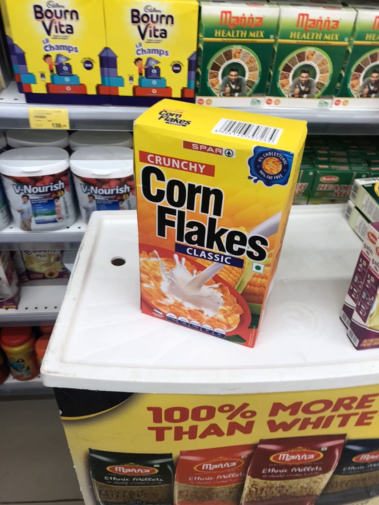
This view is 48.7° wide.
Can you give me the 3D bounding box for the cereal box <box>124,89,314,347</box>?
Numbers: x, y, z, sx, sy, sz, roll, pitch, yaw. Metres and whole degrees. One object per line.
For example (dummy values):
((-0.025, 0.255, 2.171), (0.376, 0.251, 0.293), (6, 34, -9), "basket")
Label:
((0.029, -0.035, 0.581), (0.200, 0.319, 0.090), (16, 41, 15), "cereal box")
